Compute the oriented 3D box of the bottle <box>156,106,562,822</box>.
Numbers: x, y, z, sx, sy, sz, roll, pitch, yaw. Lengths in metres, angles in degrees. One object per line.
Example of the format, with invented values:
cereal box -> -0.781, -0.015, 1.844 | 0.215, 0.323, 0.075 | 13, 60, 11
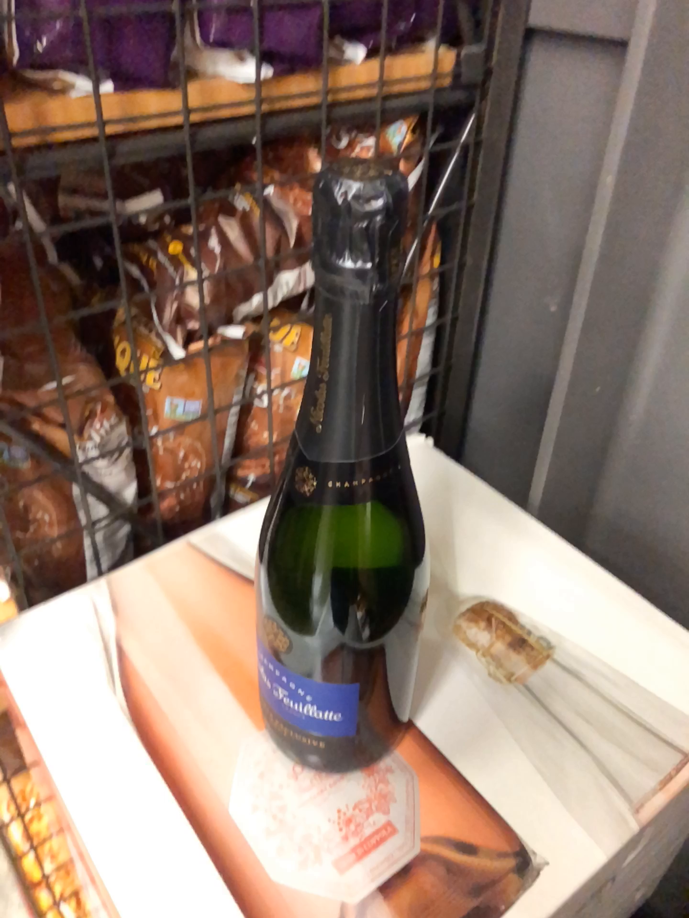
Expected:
bottle -> -0.002, 0.018, 0.341 | 0.100, 0.299, 0.090 | 31, 44, 32
